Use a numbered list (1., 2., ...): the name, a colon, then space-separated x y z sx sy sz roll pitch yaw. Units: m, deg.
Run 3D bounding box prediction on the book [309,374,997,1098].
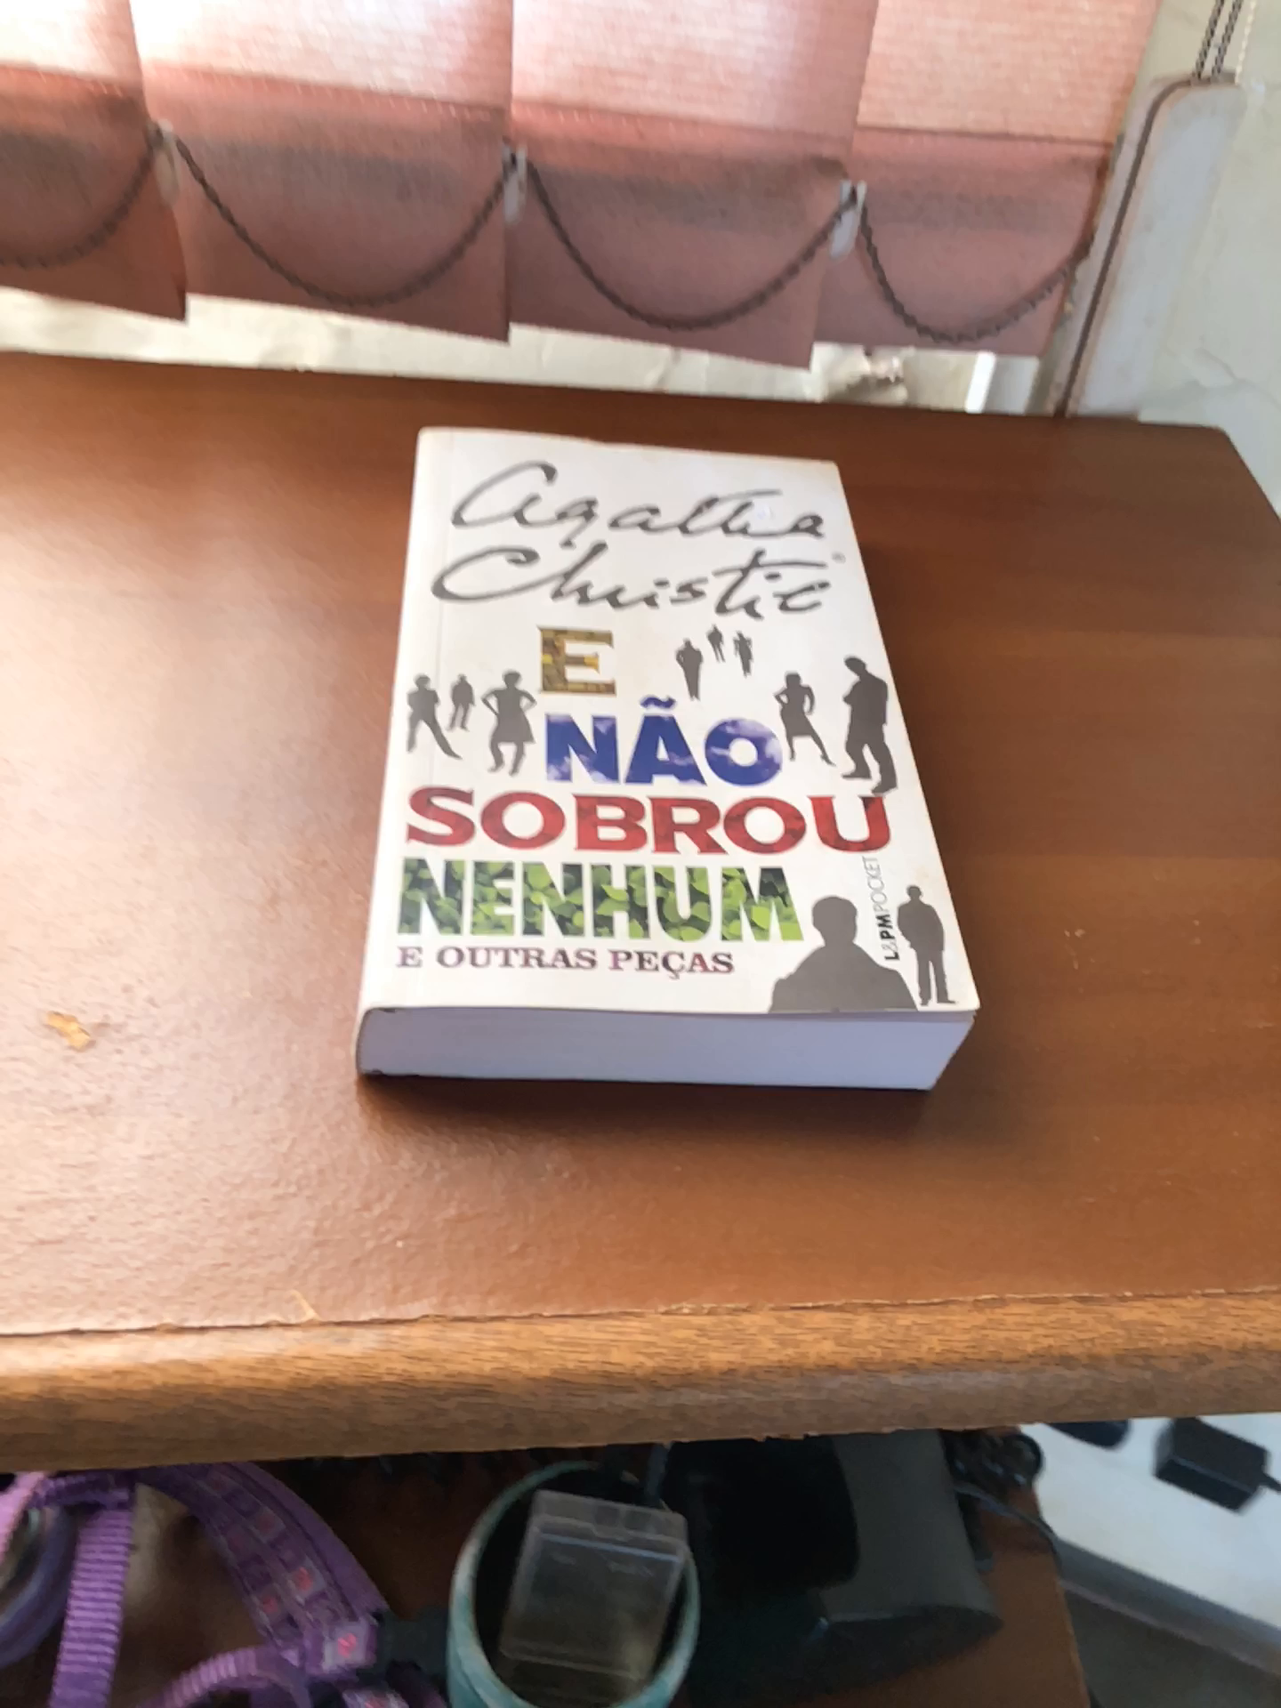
1. book: -0.001 -0.037 0.297 0.110 0.024 0.187 2 48 -5
